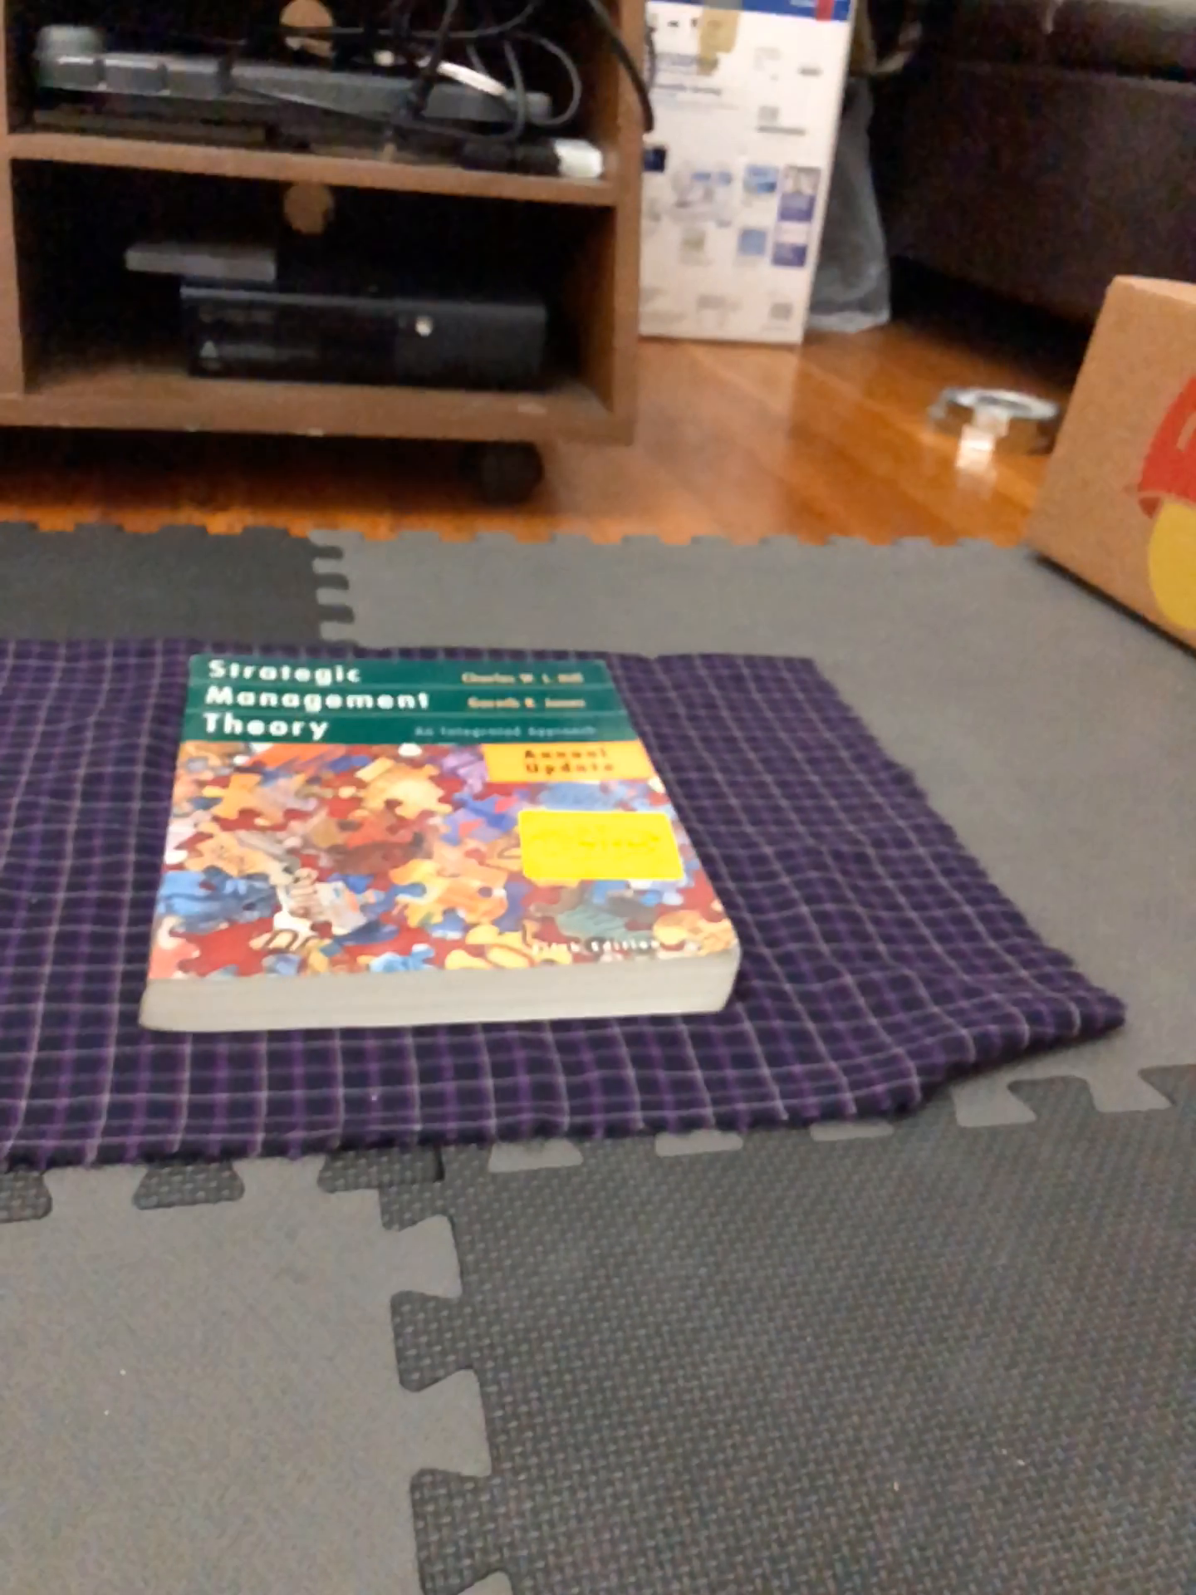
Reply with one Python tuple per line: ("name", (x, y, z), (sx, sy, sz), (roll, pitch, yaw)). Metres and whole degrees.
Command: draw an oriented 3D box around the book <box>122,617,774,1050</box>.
("book", (-0.074, -0.004, 0.598), (0.230, 0.040, 0.282), (-1, 32, -12))
